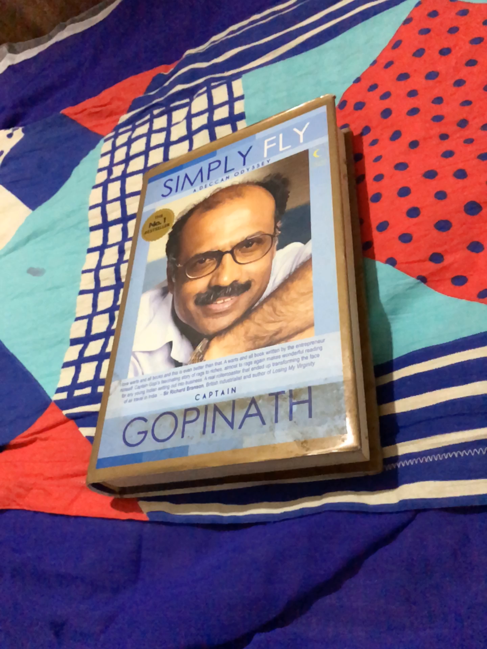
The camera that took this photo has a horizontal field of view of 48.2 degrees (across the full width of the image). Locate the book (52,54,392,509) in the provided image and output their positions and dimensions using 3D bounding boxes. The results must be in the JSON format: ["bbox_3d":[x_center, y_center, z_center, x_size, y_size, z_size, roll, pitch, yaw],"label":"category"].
[{"bbox_3d":[-0.012,-0.030,0.325,0.160,0.050,0.250,-13,57,24],"label":"book"}]
